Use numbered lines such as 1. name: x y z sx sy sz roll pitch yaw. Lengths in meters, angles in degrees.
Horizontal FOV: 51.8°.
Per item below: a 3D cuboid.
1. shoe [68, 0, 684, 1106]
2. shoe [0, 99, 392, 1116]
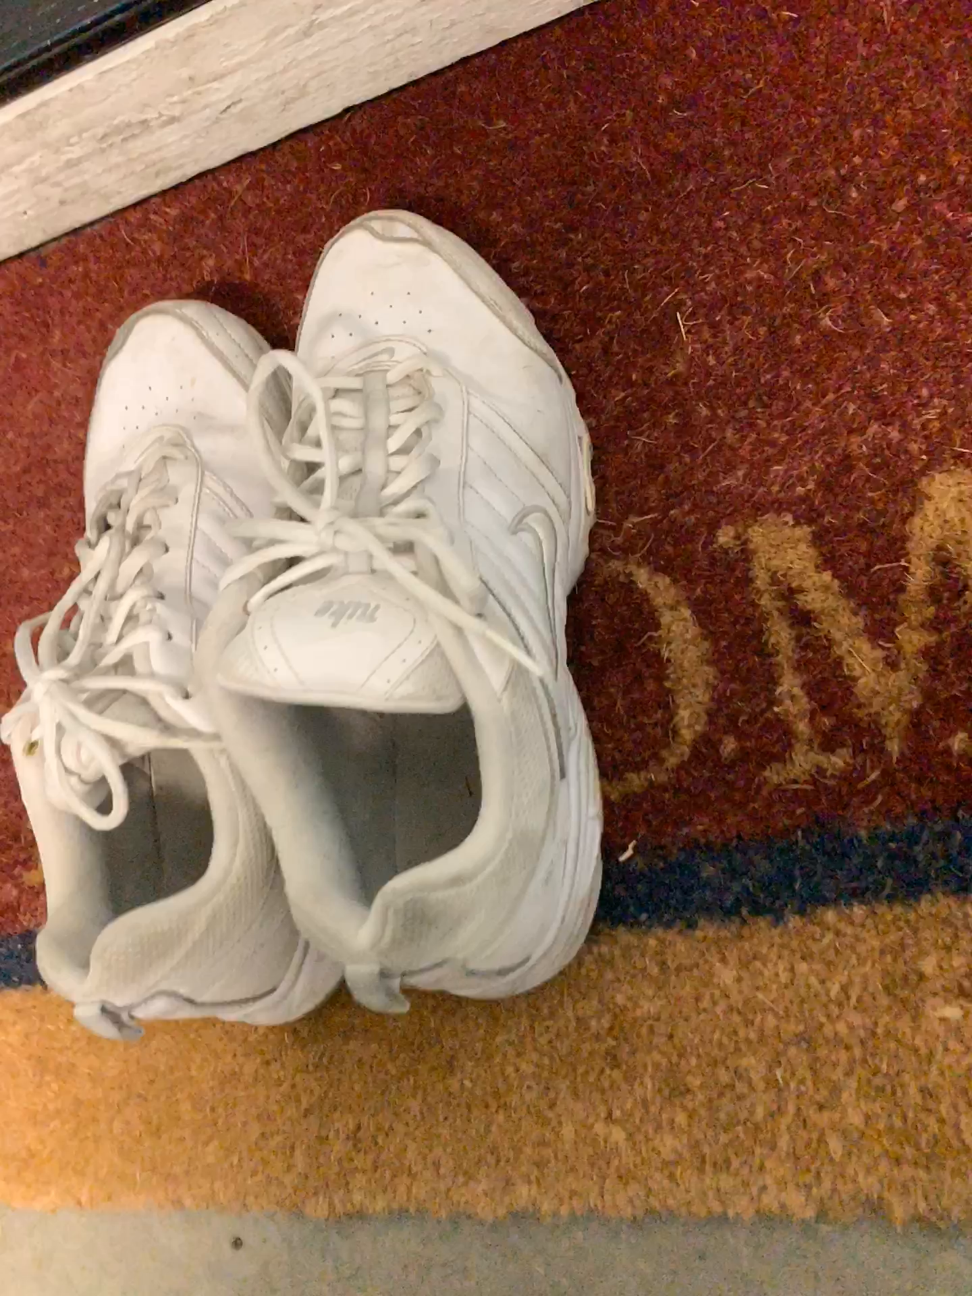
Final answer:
1. shoe: -0.033 -0.030 0.326 0.120 0.130 0.301 -12 79 22
2. shoe: -0.130 -0.009 0.367 0.110 0.130 0.301 -12 79 22
